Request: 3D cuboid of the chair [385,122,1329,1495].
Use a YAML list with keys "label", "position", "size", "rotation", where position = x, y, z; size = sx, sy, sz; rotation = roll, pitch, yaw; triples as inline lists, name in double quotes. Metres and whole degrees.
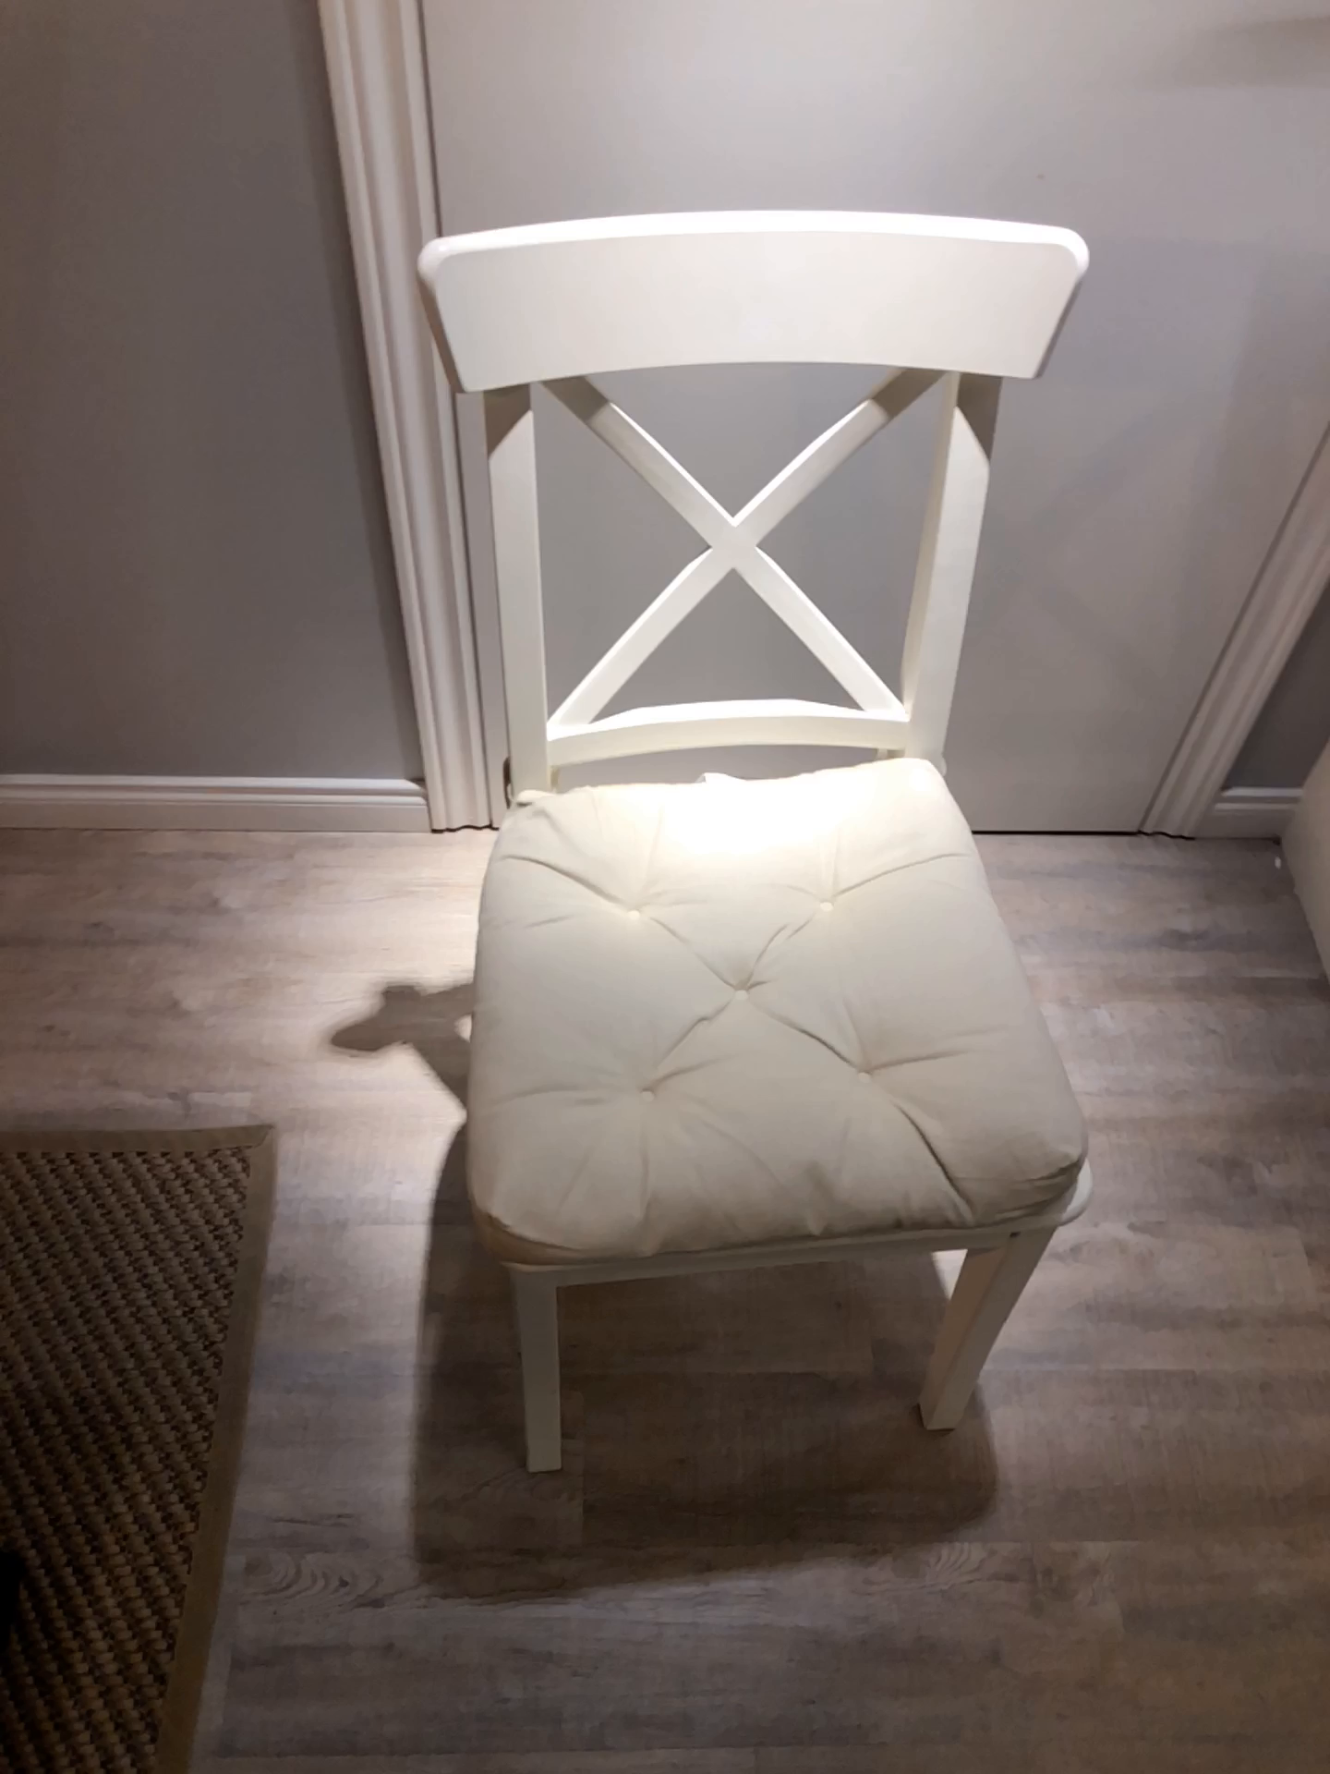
- label: "chair"
  position: [0.078, 0.024, 1.042]
  size: [0.450, 0.875, 0.513]
  rotation: [-4, 53, -6]
